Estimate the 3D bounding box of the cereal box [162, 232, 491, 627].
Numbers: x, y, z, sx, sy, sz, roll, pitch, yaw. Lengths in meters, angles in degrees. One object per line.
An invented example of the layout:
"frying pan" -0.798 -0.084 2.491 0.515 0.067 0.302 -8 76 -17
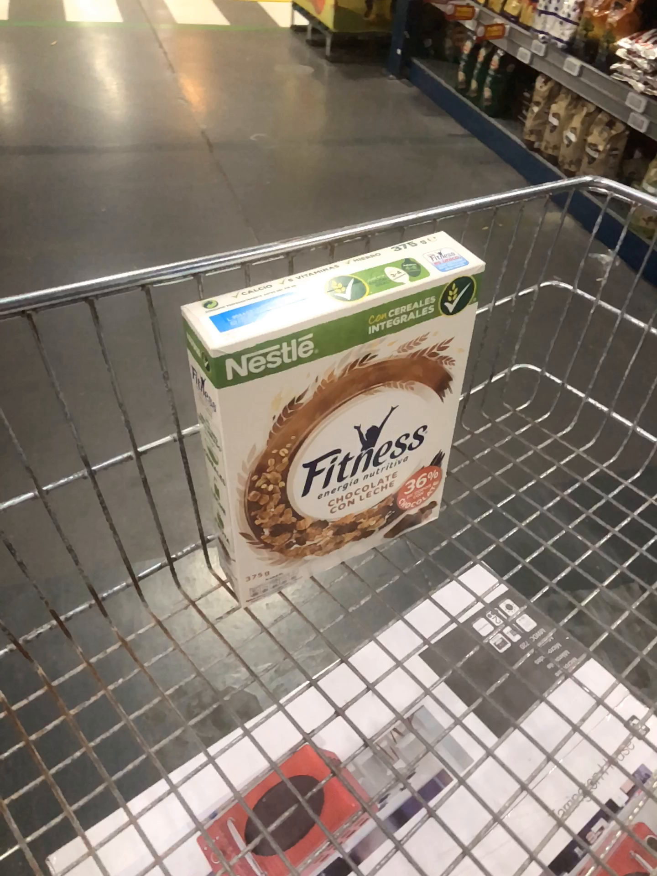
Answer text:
"cereal box" 0.001 0.002 0.537 0.200 0.259 0.060 -21 48 -22
